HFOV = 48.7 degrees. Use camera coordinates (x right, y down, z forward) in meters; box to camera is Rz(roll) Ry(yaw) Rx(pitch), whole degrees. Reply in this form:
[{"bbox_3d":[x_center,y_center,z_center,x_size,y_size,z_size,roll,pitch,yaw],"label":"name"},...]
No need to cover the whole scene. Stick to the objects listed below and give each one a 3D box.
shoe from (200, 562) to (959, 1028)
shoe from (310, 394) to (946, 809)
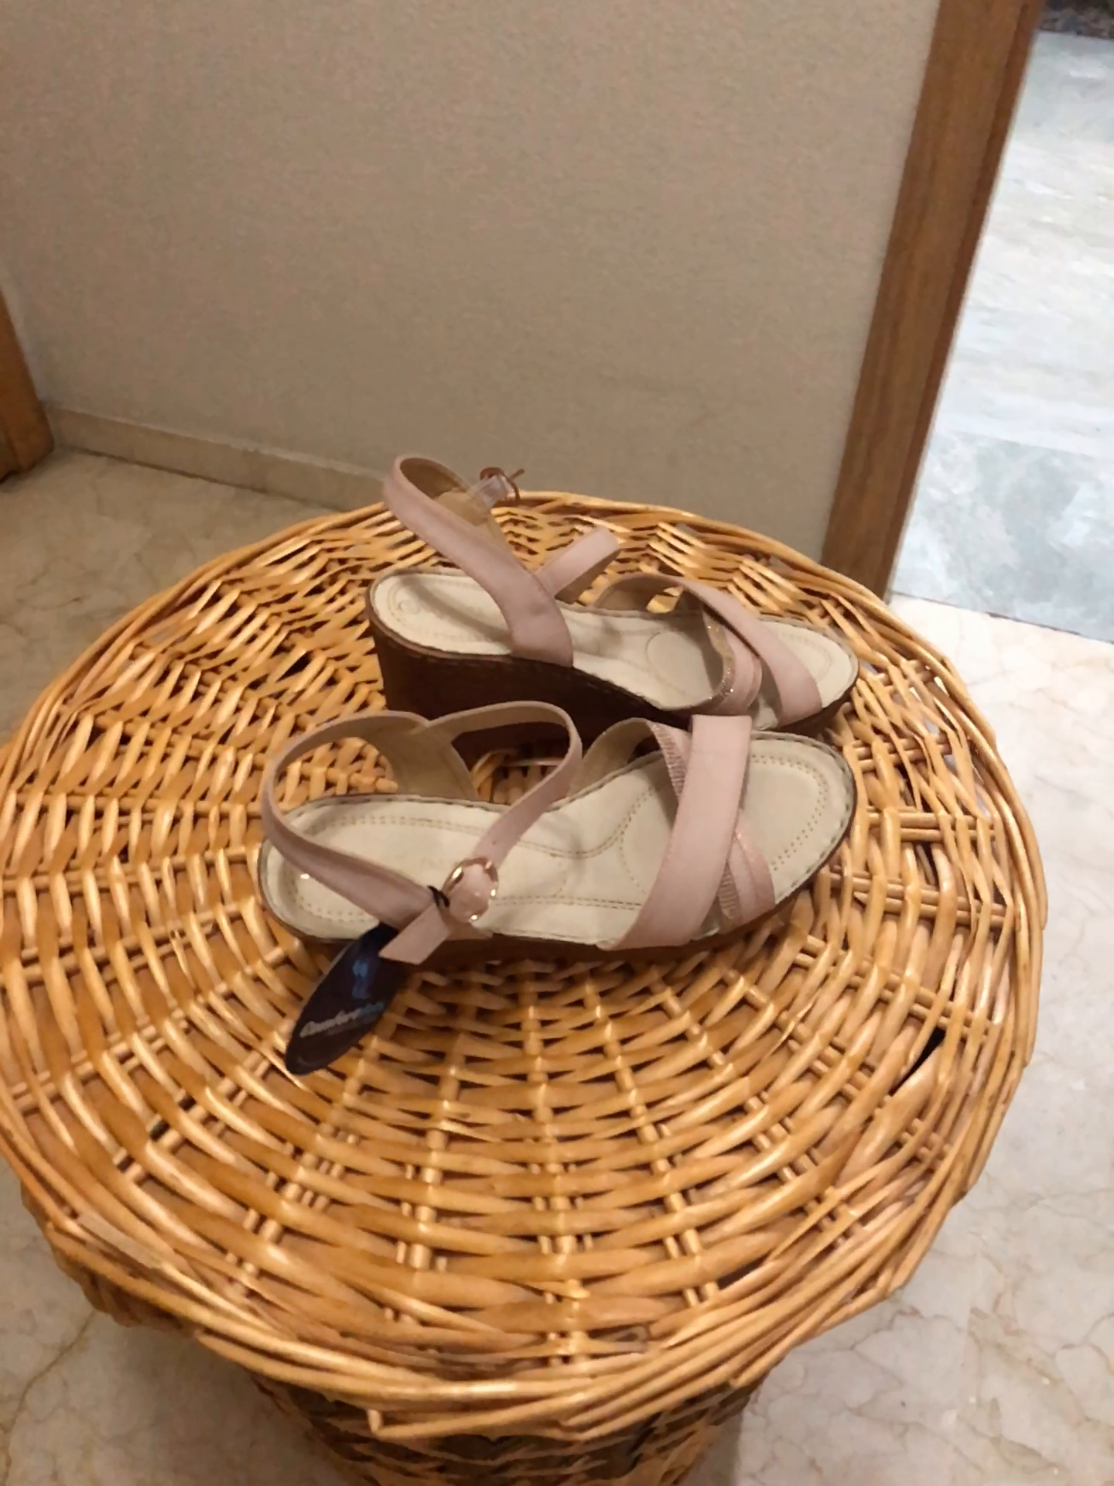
[{"bbox_3d":[0.004,0.017,0.485,0.260,0.104,0.100,-9,47,-9],"label":"shoe"},{"bbox_3d":[0.027,-0.070,0.565,0.251,0.100,0.112,-12,47,-11],"label":"shoe"}]
